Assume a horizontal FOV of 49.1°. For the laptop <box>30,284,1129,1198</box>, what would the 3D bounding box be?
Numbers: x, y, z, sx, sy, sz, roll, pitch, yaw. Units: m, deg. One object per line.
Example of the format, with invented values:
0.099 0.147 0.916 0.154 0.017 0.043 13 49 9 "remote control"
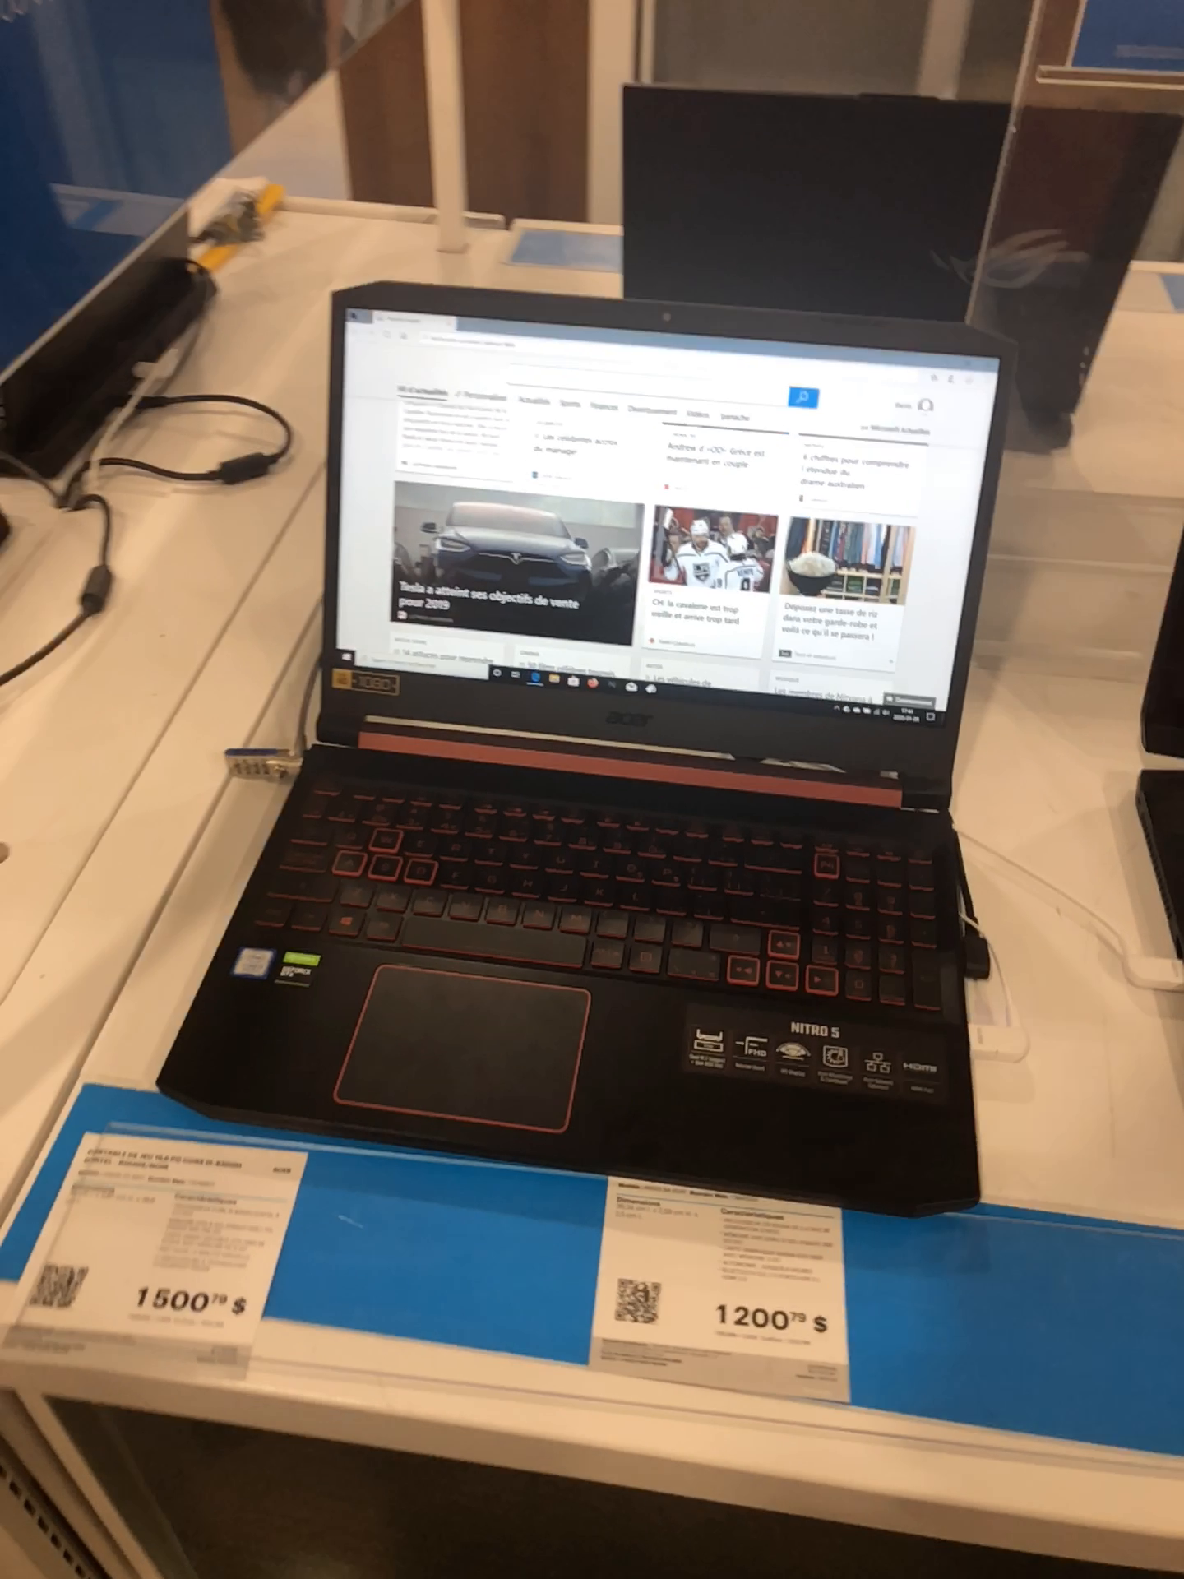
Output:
0.013 -0.049 0.616 0.357 0.211 0.360 6 44 6 "laptop"
